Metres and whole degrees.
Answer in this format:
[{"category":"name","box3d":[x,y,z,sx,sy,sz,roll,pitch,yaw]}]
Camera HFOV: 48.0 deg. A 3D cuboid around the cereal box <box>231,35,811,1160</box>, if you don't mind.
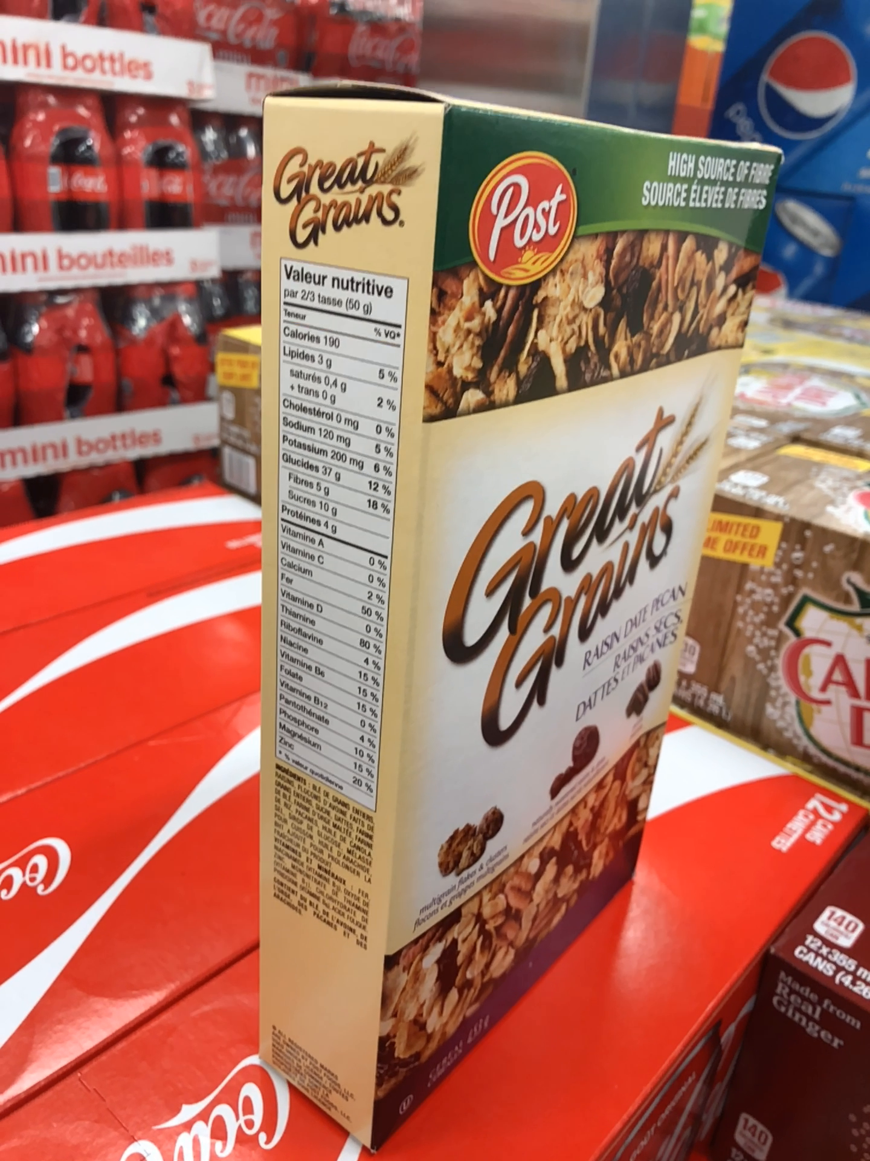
[{"category":"cereal box","box3d":[0.023,0.006,0.285,0.050,0.269,0.170,22,29,33]}]
